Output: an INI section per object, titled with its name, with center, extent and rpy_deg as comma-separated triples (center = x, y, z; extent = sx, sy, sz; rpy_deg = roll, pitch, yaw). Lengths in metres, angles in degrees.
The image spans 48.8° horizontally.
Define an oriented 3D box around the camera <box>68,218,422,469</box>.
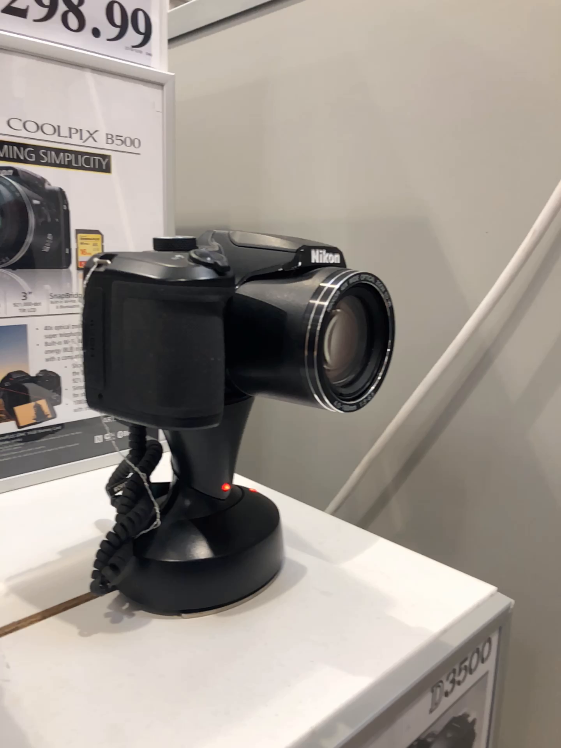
[camera]
center = -0.012, -0.024, 0.268
extent = 0.090, 0.080, 0.120
rpy_deg = 12, 16, 41
